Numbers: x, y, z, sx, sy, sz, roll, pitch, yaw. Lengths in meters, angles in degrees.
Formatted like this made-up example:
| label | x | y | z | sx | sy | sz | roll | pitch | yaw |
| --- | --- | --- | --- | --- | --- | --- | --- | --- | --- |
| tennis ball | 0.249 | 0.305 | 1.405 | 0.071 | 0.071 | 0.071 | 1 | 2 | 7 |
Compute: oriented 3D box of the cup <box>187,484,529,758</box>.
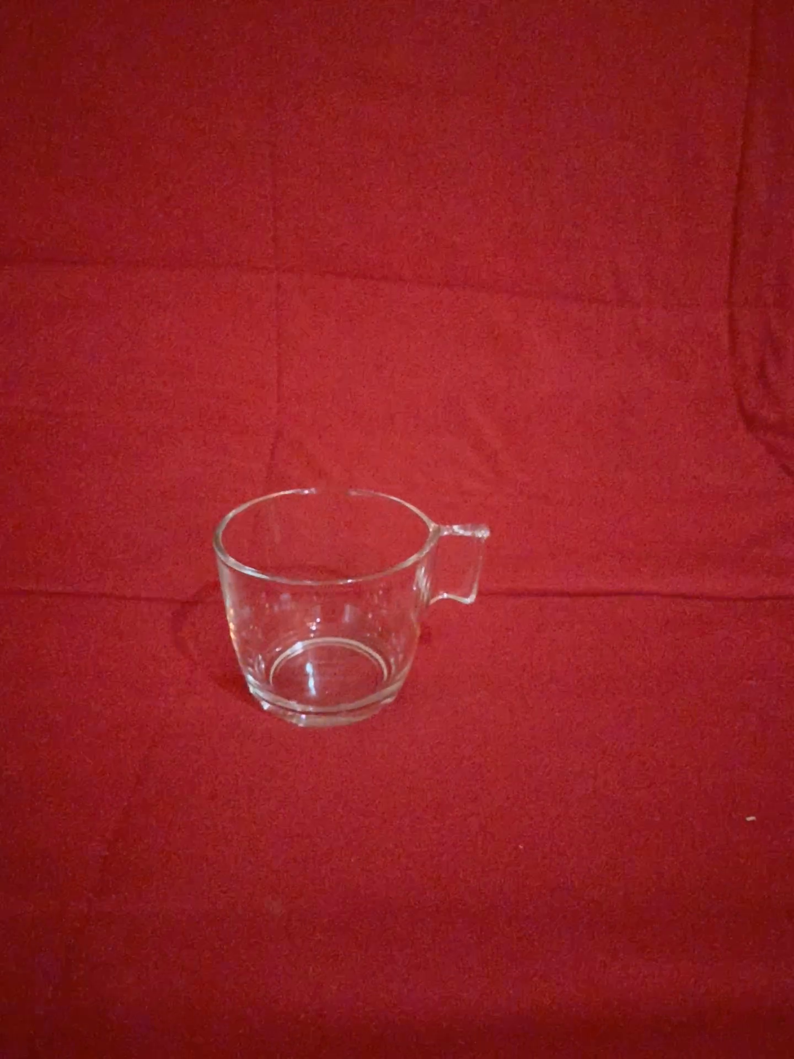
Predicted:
| label | x | y | z | sx | sy | sz | roll | pitch | yaw |
| --- | --- | --- | --- | --- | --- | --- | --- | --- | --- |
| cup | -0.015 | 0.033 | 0.335 | 0.116 | 0.069 | 0.090 | -1 | 28 | -3 |
